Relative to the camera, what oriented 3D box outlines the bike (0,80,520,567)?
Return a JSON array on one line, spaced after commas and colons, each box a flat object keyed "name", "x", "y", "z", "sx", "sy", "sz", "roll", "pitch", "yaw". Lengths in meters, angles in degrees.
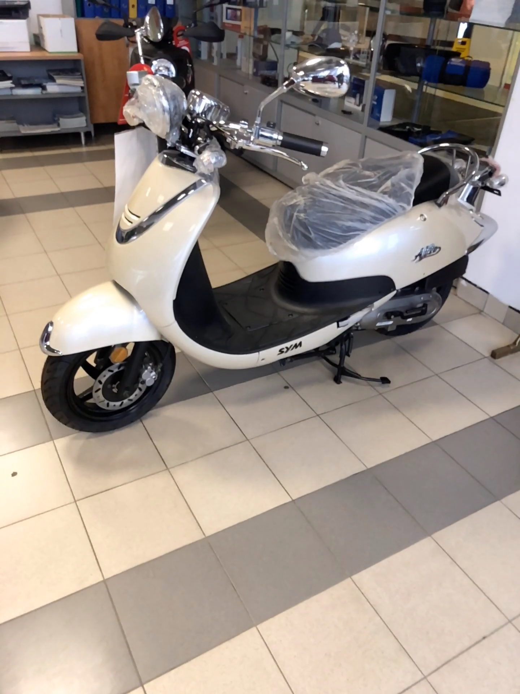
[{"name": "bike", "x": 0.123, "y": -0.236, "z": 1.948, "sx": 1.684, "sy": 0.963, "sz": 0.808, "roll": -16, "pitch": 38, "yaw": -23}]
